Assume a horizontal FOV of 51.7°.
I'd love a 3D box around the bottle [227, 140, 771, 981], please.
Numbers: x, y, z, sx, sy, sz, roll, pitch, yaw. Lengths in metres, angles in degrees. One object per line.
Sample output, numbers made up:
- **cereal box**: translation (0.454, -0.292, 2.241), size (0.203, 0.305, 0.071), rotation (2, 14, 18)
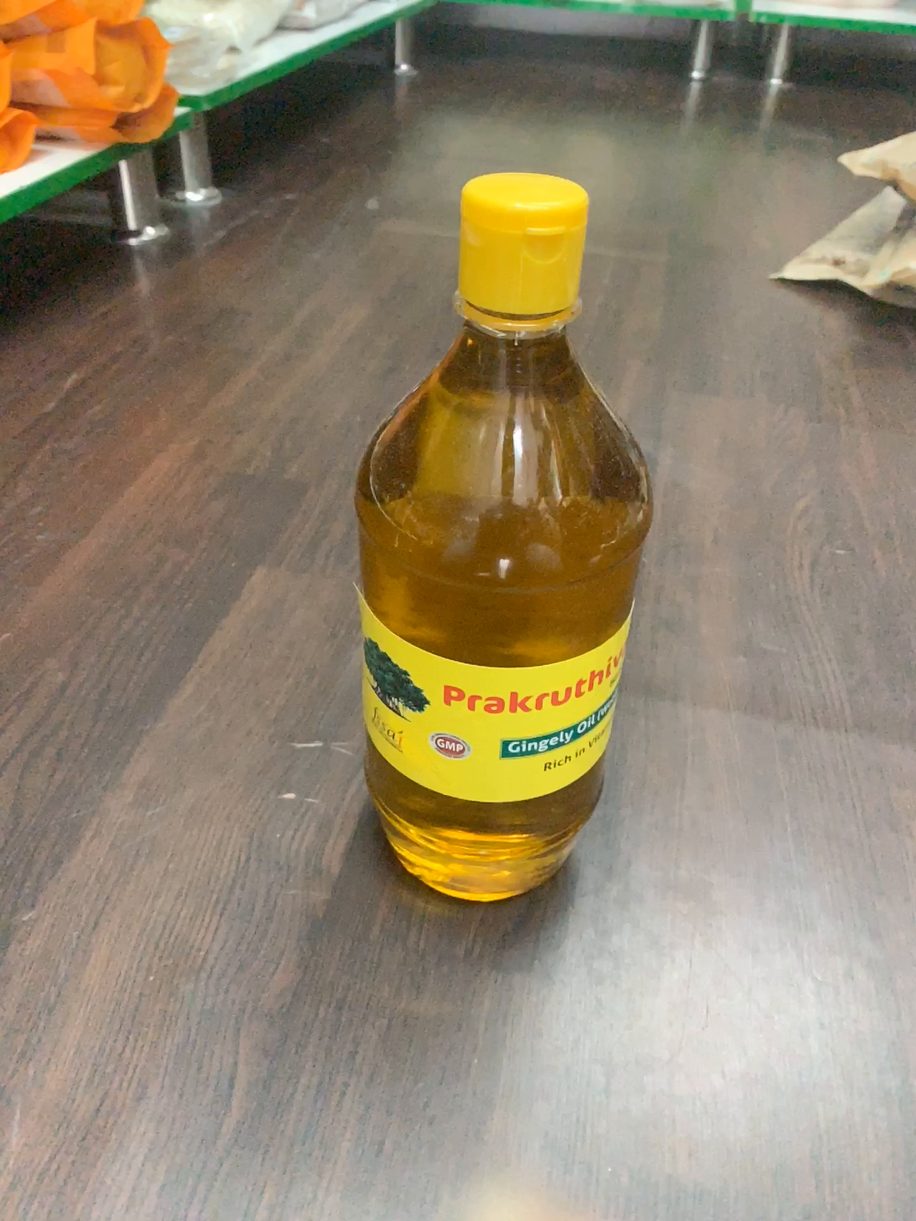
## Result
- **bottle**: translation (0.009, -0.007, 0.284), size (0.090, 0.219, 0.090), rotation (1, 38, -1)
